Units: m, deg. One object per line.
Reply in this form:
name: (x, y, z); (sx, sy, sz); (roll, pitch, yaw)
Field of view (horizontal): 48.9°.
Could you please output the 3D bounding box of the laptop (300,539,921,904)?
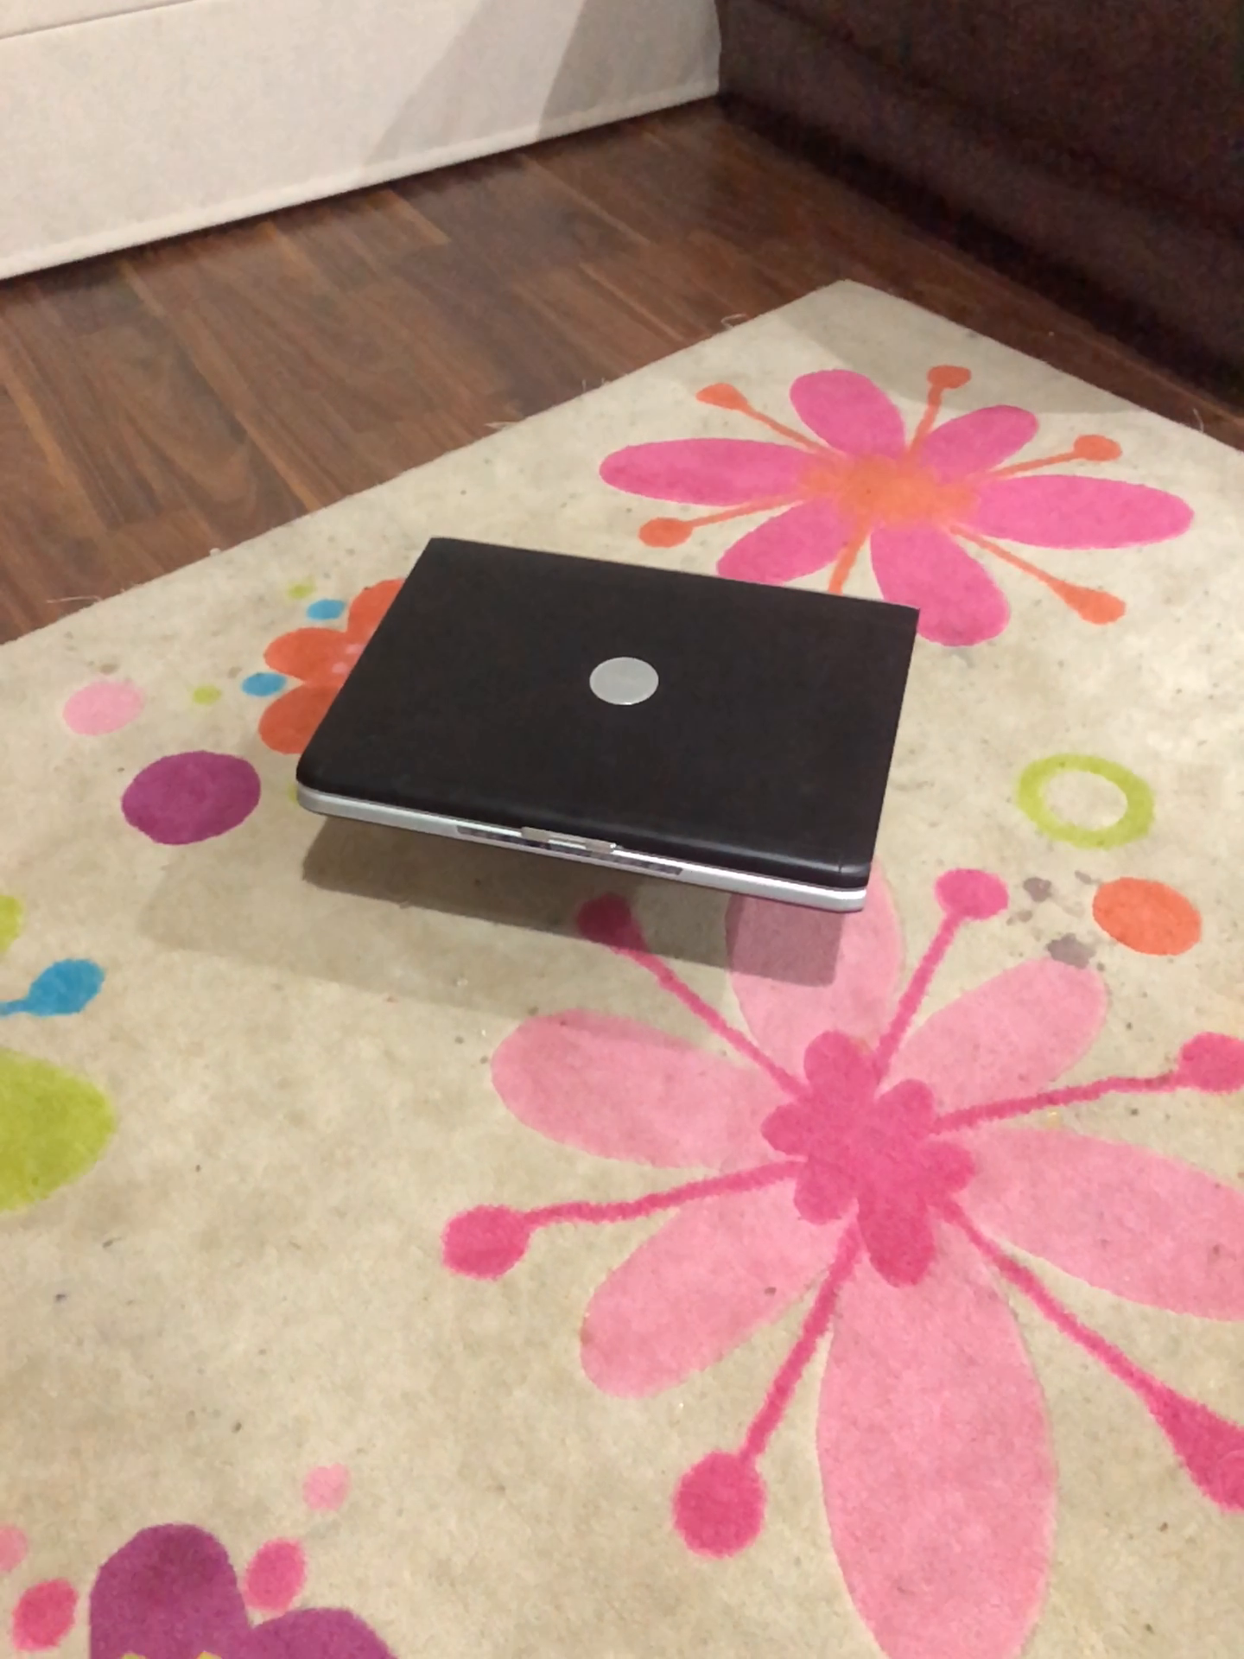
laptop: (-0.002, -0.084, 0.885); (0.353, 0.015, 0.233); (11, 53, 14)
